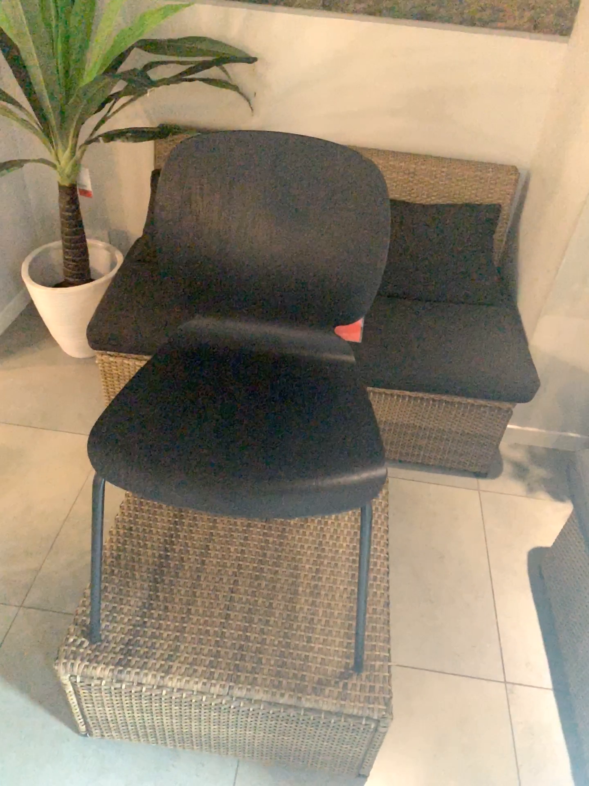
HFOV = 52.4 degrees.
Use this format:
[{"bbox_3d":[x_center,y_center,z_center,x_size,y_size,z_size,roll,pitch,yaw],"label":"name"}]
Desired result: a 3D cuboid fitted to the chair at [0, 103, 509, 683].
[{"bbox_3d":[-0.070,0.015,1.037,0.530,0.767,0.562,6,40,0],"label":"chair"}]
